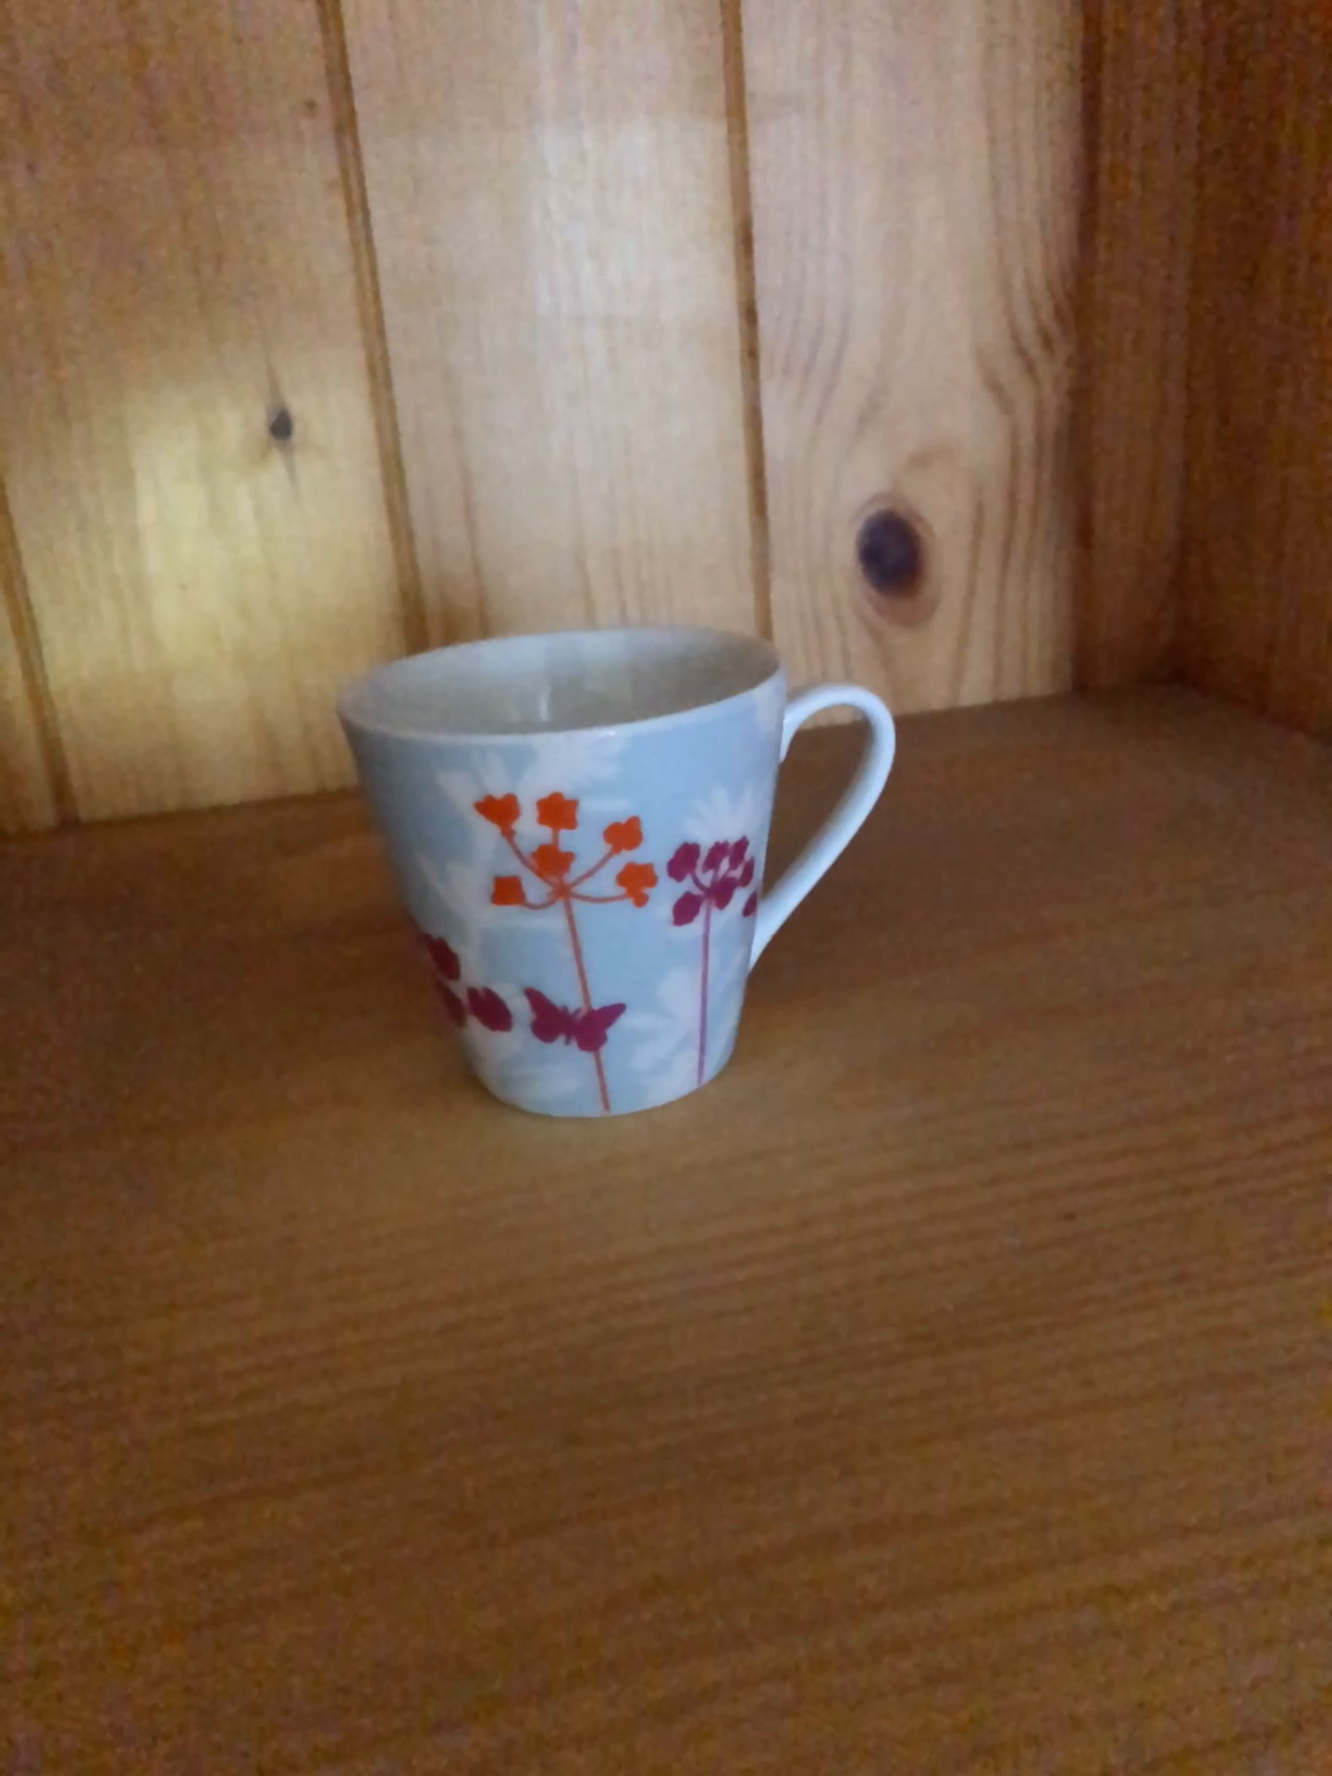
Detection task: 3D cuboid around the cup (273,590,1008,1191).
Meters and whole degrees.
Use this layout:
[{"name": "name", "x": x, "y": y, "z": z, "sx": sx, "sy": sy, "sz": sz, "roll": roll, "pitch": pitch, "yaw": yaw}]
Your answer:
[{"name": "cup", "x": -0.006, "y": -0.007, "z": 0.207, "sx": 0.080, "sy": 0.050, "sz": 0.070, "roll": -11, "pitch": 22, "yaw": -17}]
